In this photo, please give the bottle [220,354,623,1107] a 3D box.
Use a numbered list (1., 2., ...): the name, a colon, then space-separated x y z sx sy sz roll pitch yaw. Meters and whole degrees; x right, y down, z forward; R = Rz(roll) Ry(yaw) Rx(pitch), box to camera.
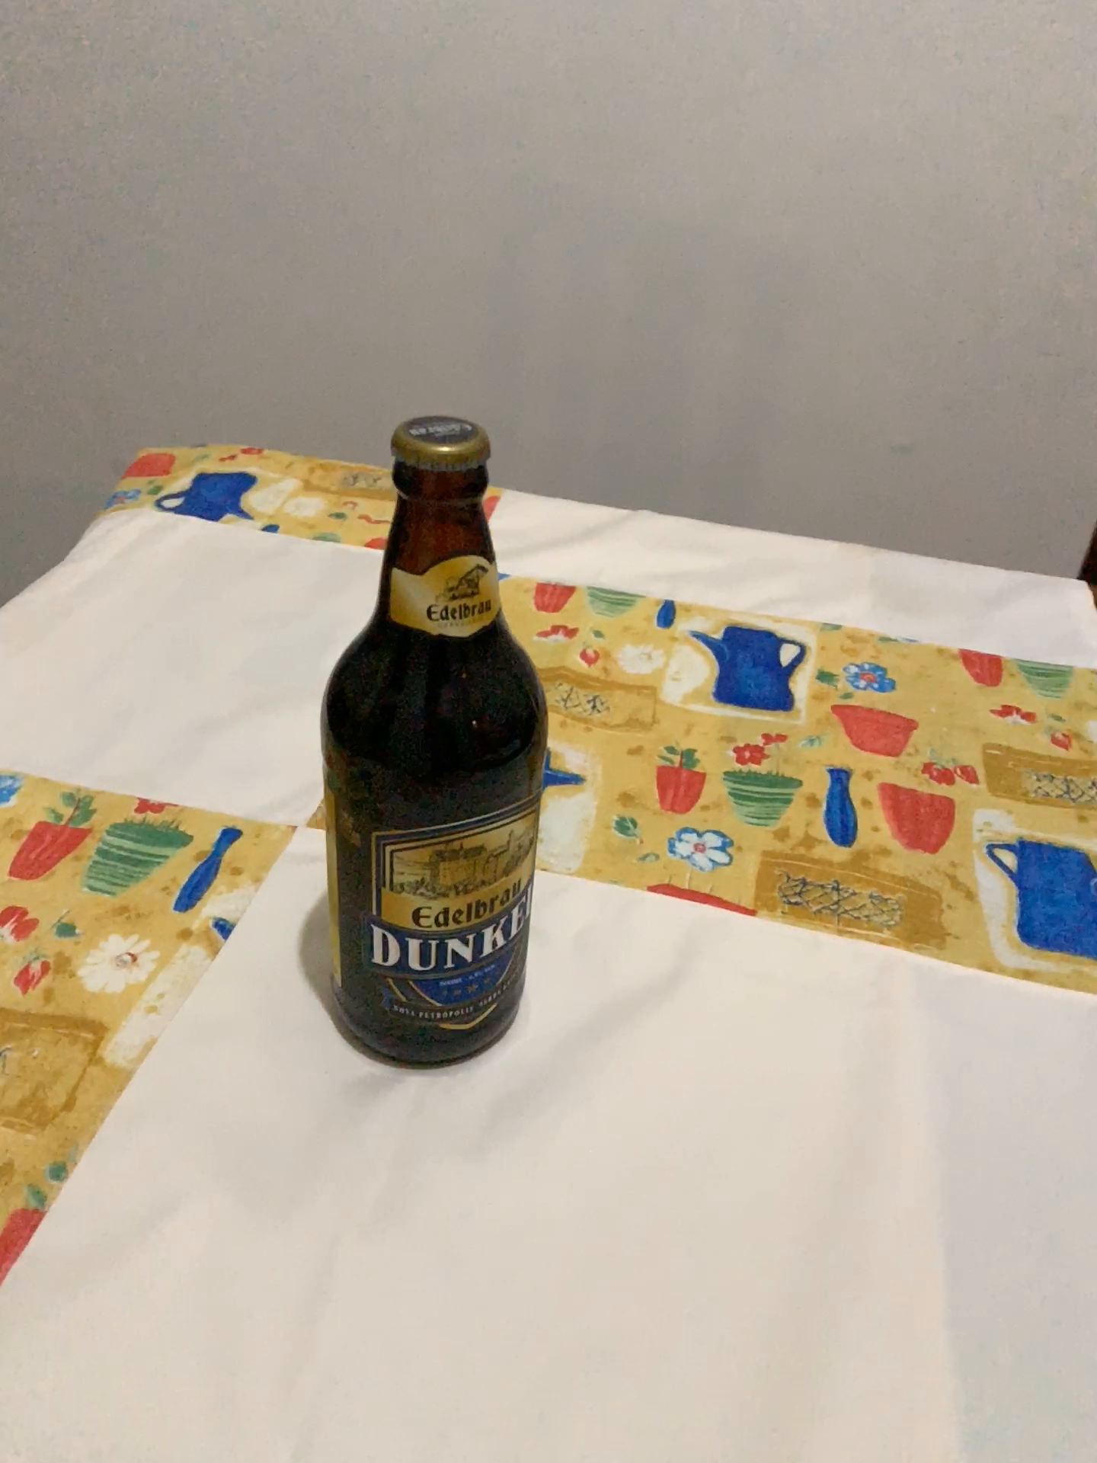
1. bottle: -0.043 0.005 0.360 0.080 0.219 0.080 3 34 -2
